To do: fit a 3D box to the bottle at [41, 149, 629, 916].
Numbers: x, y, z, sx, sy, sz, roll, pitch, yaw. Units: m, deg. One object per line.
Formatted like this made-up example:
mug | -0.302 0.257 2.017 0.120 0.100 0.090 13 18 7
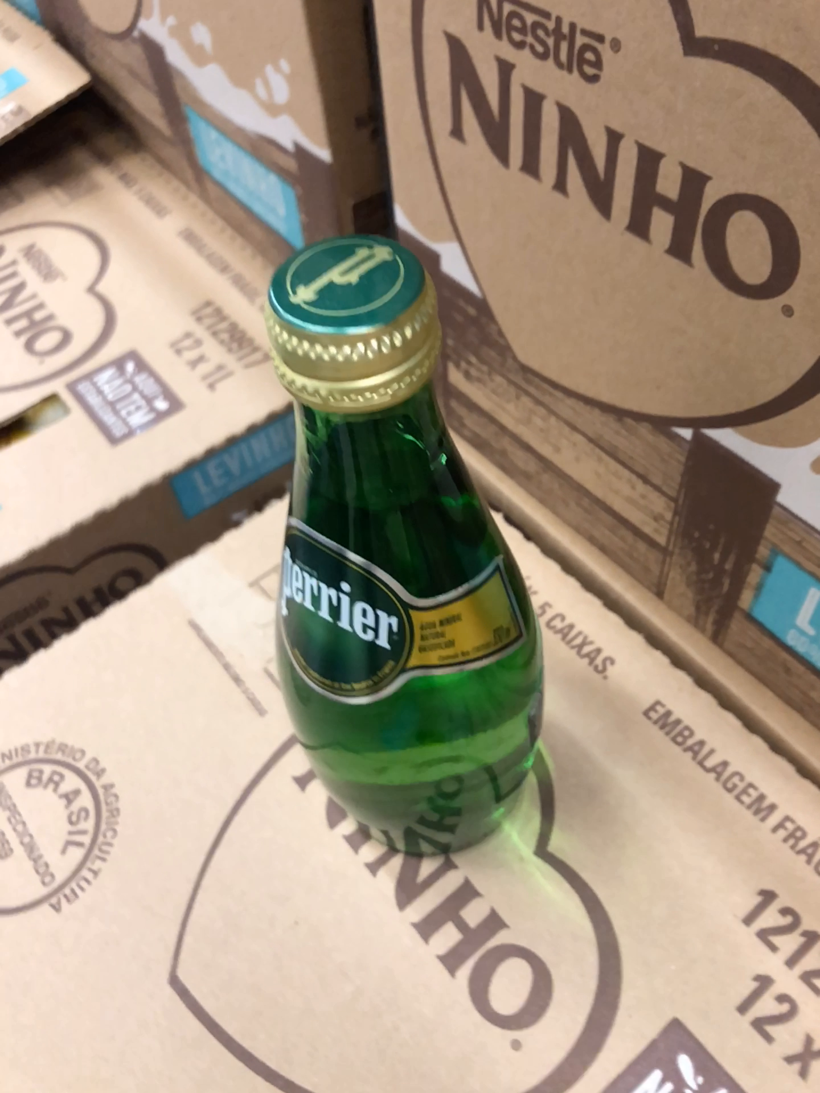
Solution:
bottle | -0.004 0.015 0.214 0.070 0.179 0.060 24 59 22
